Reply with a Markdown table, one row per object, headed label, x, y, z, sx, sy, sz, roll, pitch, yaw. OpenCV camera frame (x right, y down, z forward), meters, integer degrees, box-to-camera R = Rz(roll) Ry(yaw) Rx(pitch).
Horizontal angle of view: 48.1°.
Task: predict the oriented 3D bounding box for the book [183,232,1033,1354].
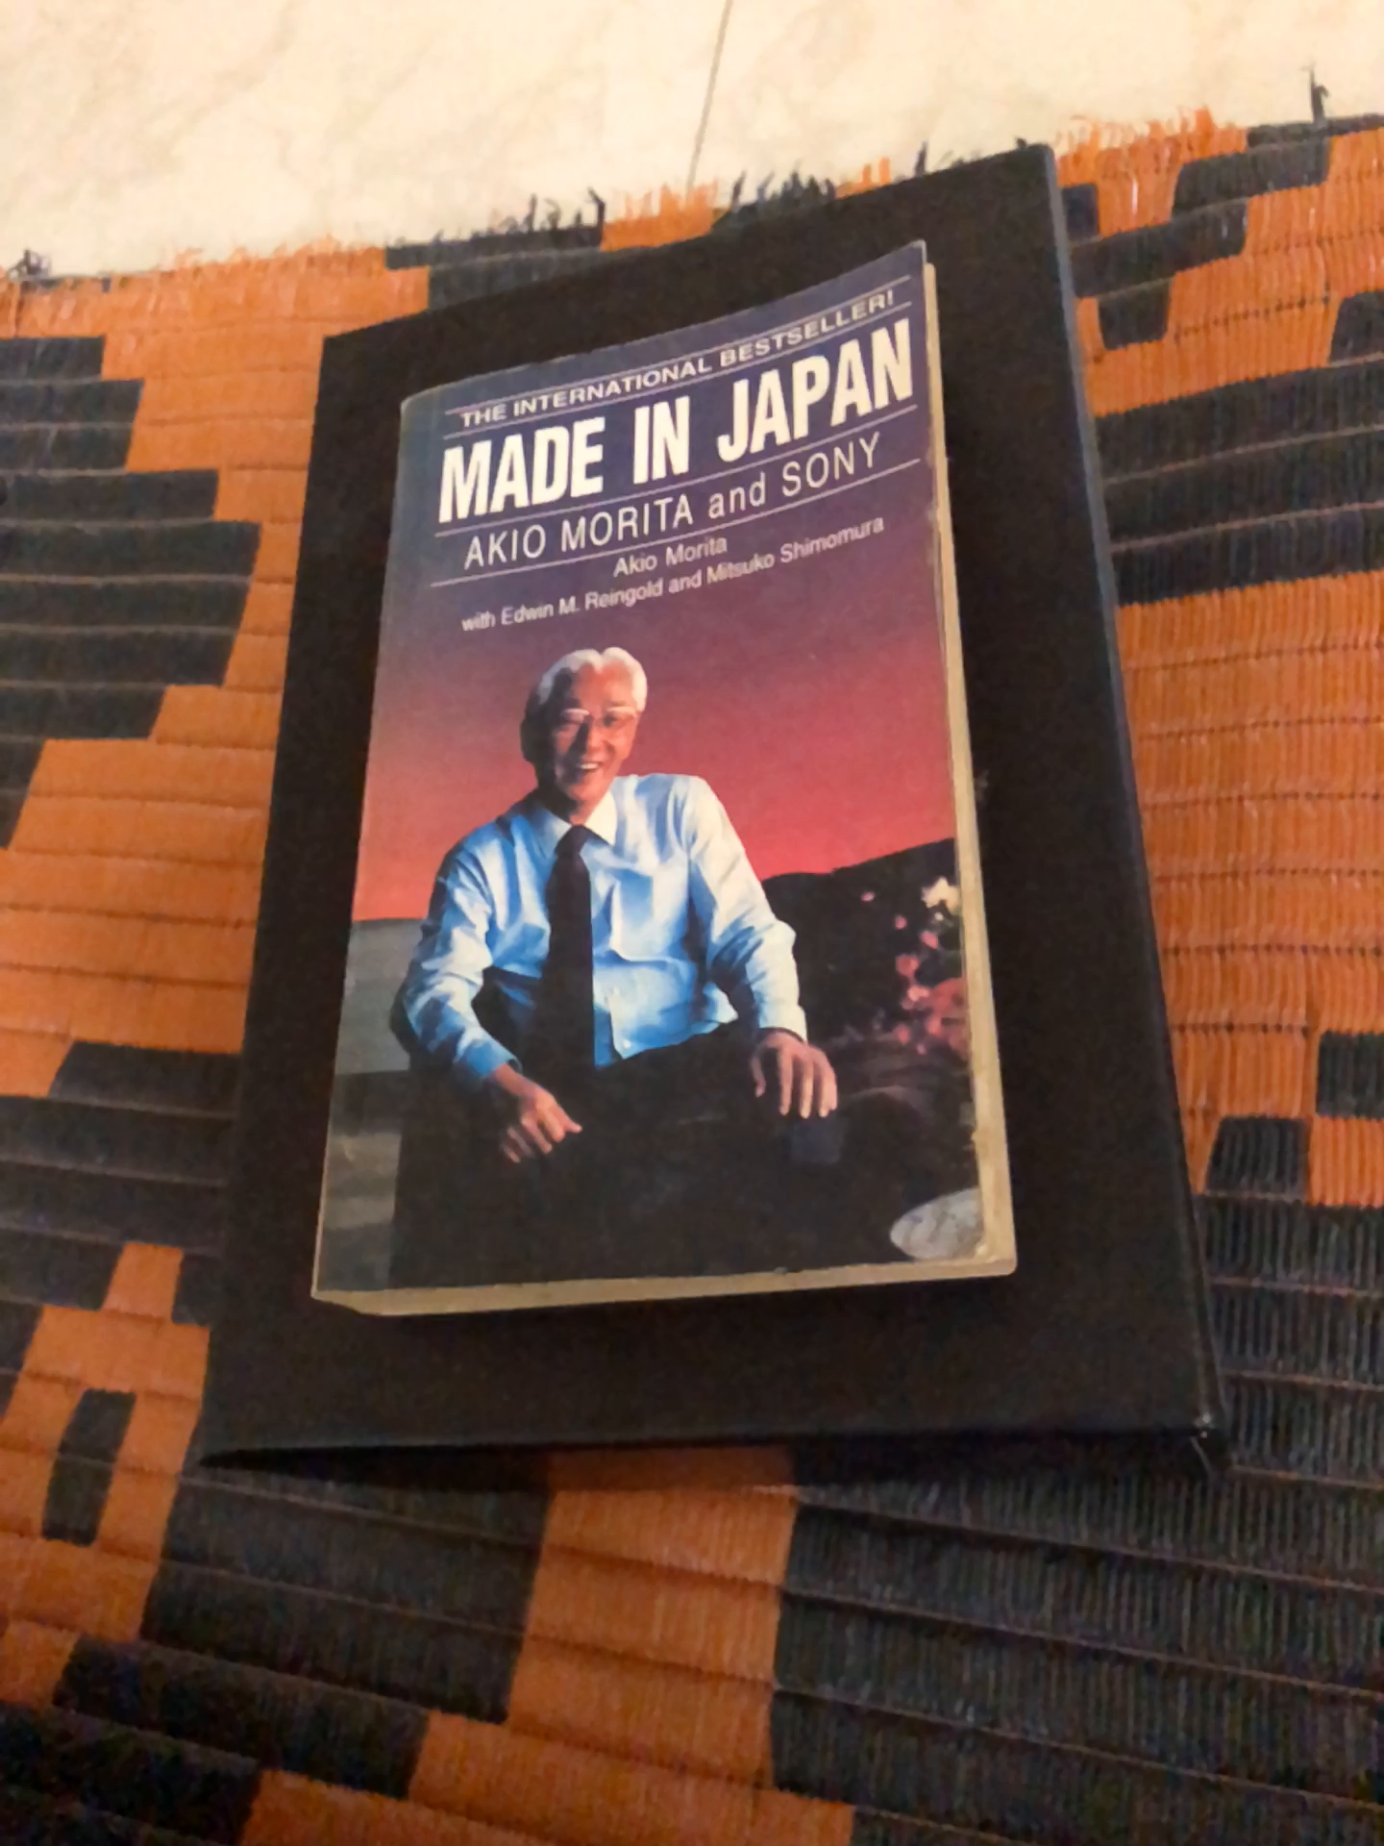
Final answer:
| label | x | y | z | sx | sy | sz | roll | pitch | yaw |
| --- | --- | --- | --- | --- | --- | --- | --- | --- | --- |
| book | -0.013 | -0.021 | 0.255 | 0.120 | 0.030 | 0.170 | -8 | 66 | 21 |
